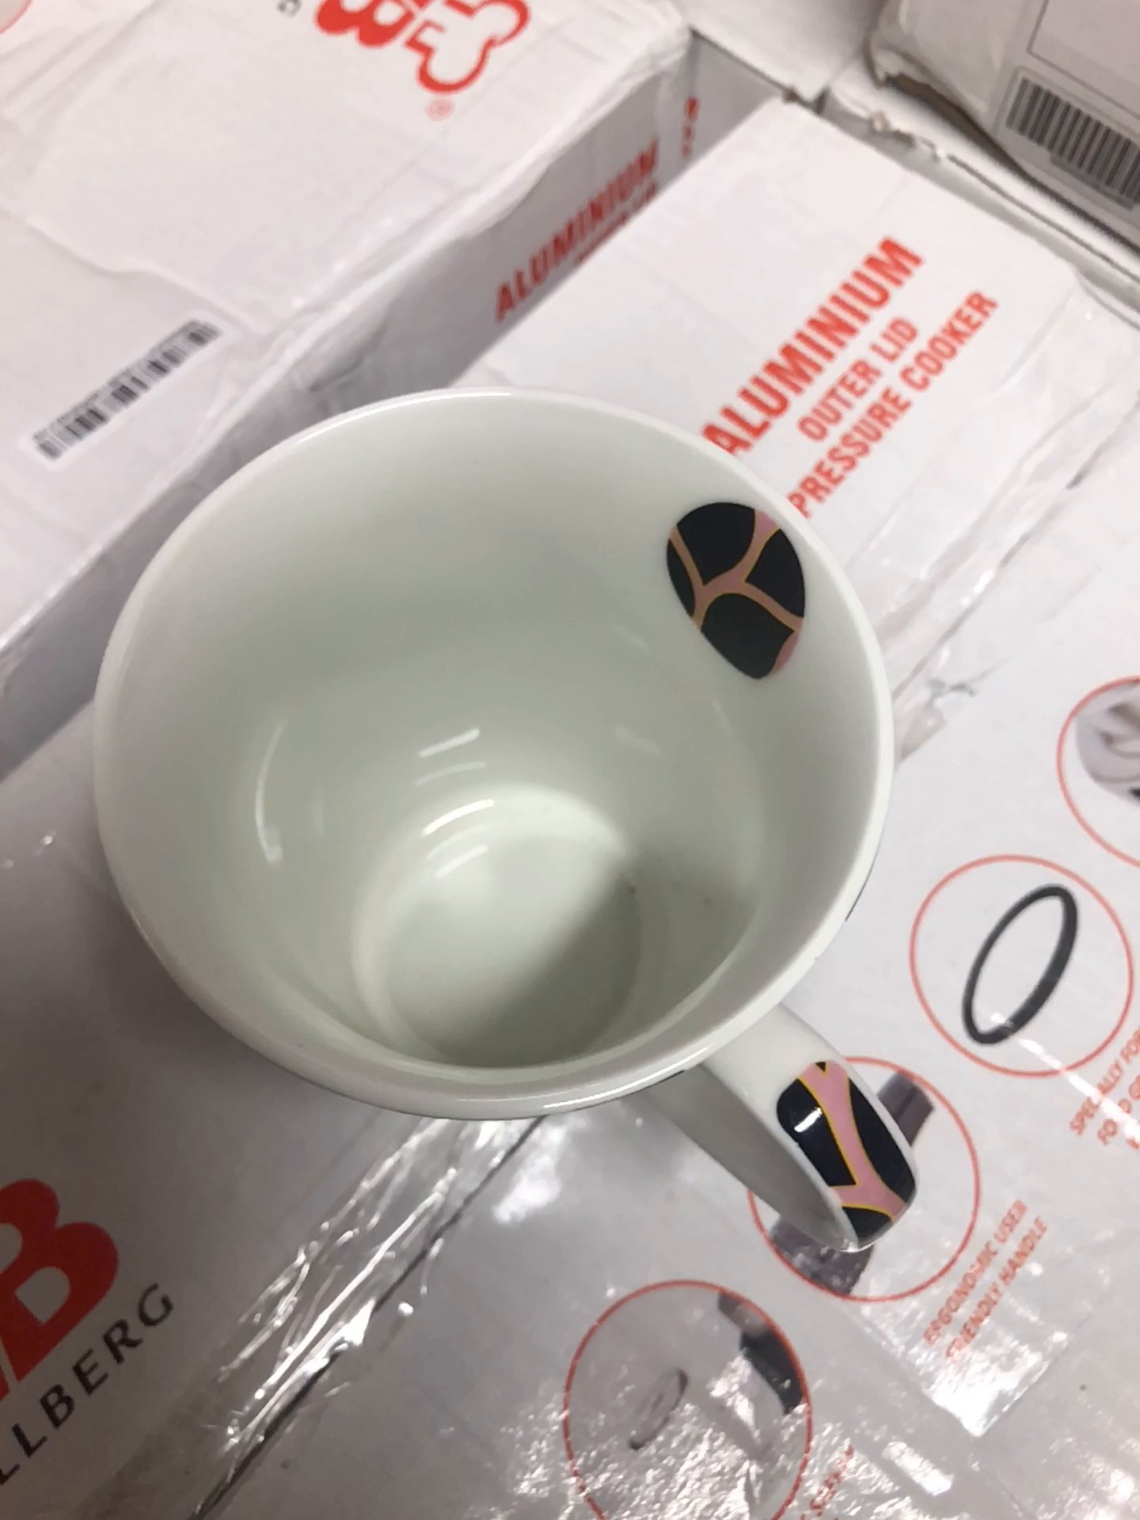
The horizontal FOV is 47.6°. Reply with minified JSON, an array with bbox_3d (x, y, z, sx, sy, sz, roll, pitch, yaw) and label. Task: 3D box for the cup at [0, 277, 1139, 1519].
[{"bbox_3d":[0.003,0.022,0.170,0.110,0.090,0.080,41,71,11],"label":"cup"}]
